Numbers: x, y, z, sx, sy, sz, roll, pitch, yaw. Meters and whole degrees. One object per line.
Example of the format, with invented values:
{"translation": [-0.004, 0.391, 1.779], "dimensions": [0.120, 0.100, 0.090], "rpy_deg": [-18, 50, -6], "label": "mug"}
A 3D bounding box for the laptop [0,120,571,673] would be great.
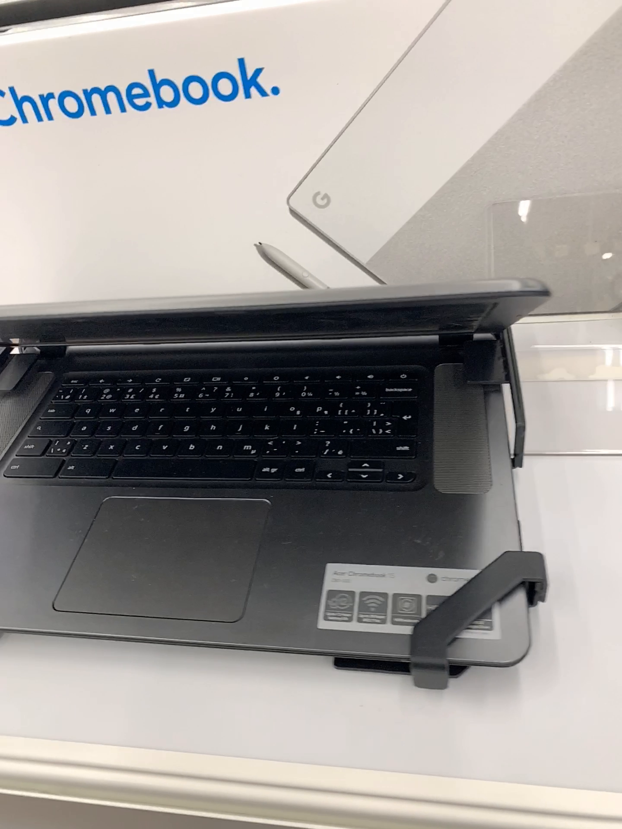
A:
{"translation": [-0.066, -0.021, 0.285], "dimensions": [0.303, 0.119, 0.198], "rpy_deg": [0, 42, 13], "label": "laptop"}
